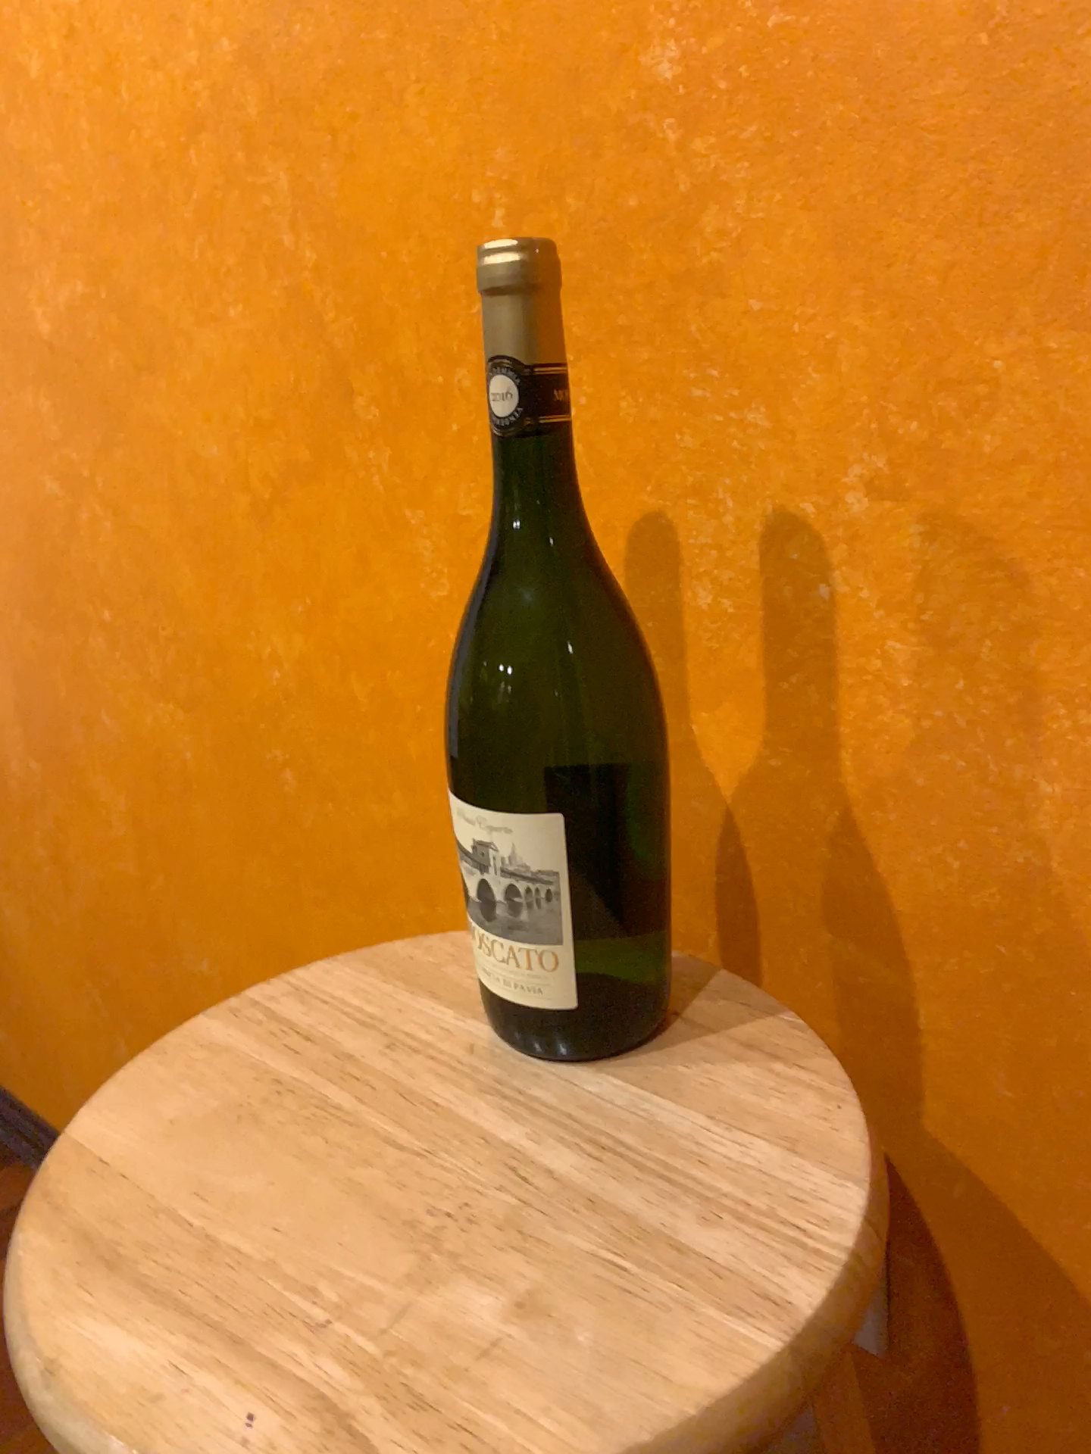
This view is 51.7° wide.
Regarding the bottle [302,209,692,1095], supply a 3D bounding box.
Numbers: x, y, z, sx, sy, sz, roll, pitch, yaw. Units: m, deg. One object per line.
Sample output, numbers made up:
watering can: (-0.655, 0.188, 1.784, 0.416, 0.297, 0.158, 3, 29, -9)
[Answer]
bottle: (-0.012, -0.024, 0.410, 0.070, 0.289, 0.090, -20, 23, -39)
